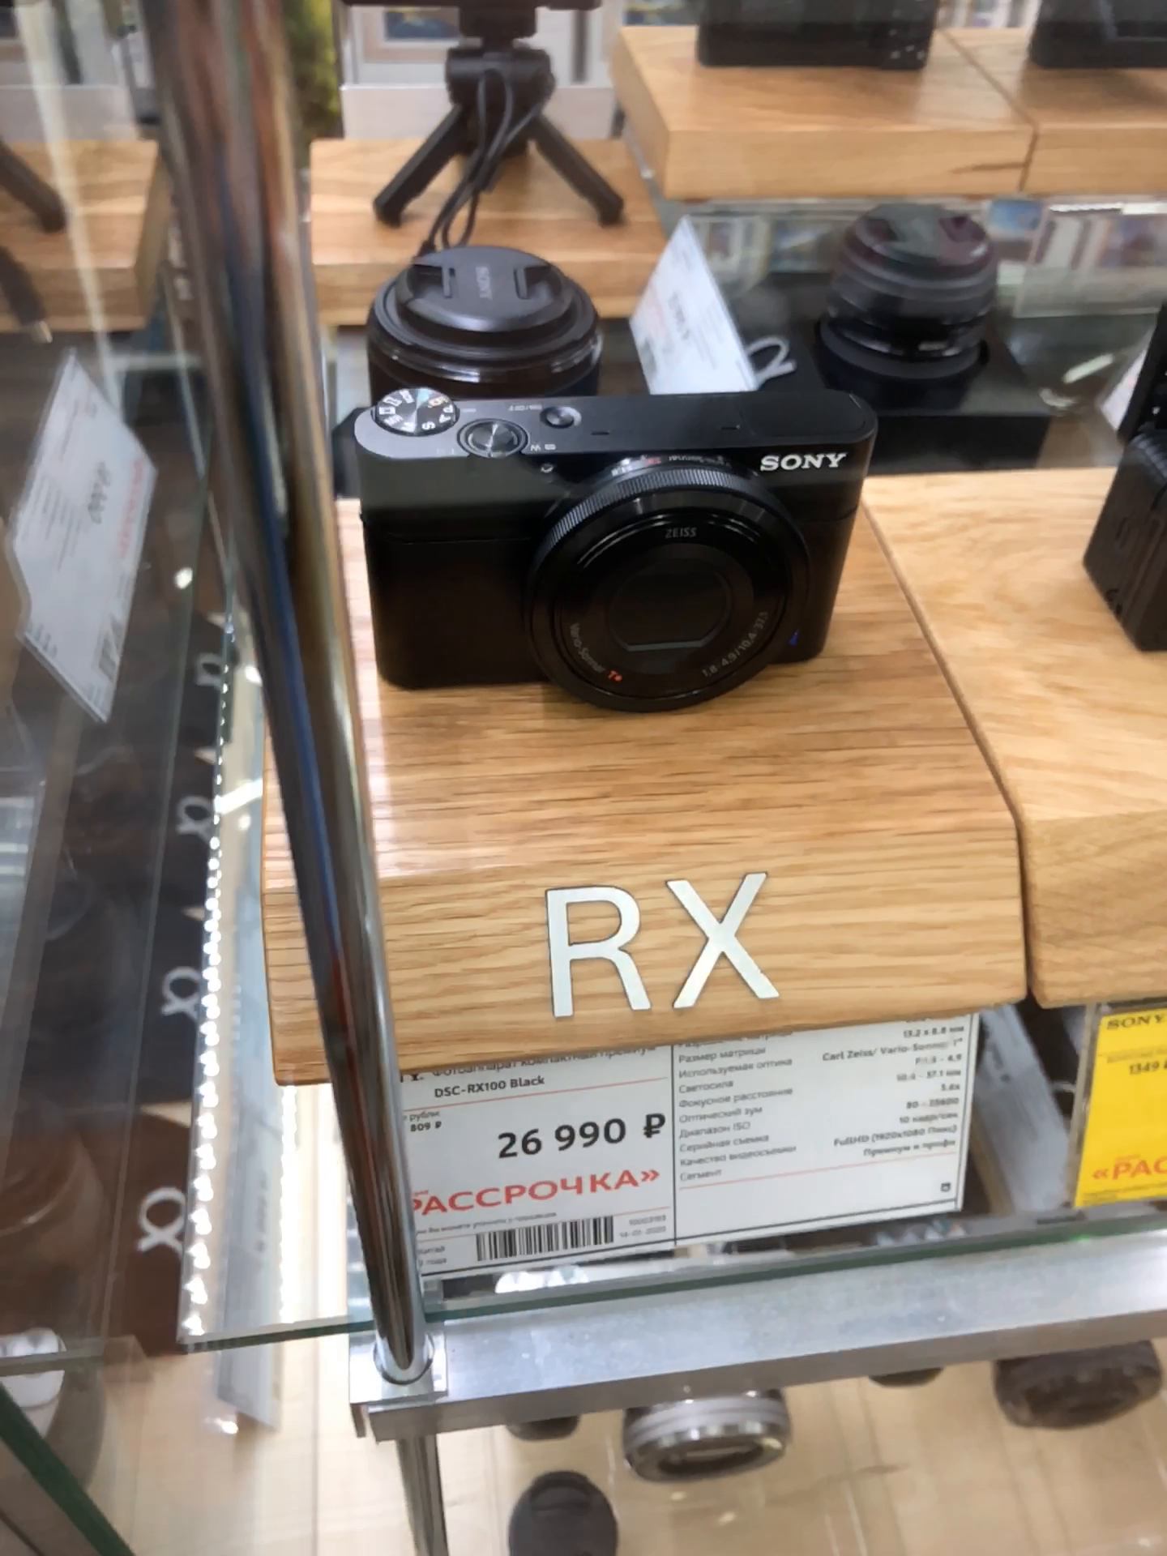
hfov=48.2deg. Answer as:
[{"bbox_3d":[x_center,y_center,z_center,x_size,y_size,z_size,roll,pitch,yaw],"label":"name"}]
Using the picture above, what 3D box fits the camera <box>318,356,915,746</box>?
[{"bbox_3d":[0.004,-0.046,0.264,0.106,0.062,0.037,-5,47,-8],"label":"camera"}]
